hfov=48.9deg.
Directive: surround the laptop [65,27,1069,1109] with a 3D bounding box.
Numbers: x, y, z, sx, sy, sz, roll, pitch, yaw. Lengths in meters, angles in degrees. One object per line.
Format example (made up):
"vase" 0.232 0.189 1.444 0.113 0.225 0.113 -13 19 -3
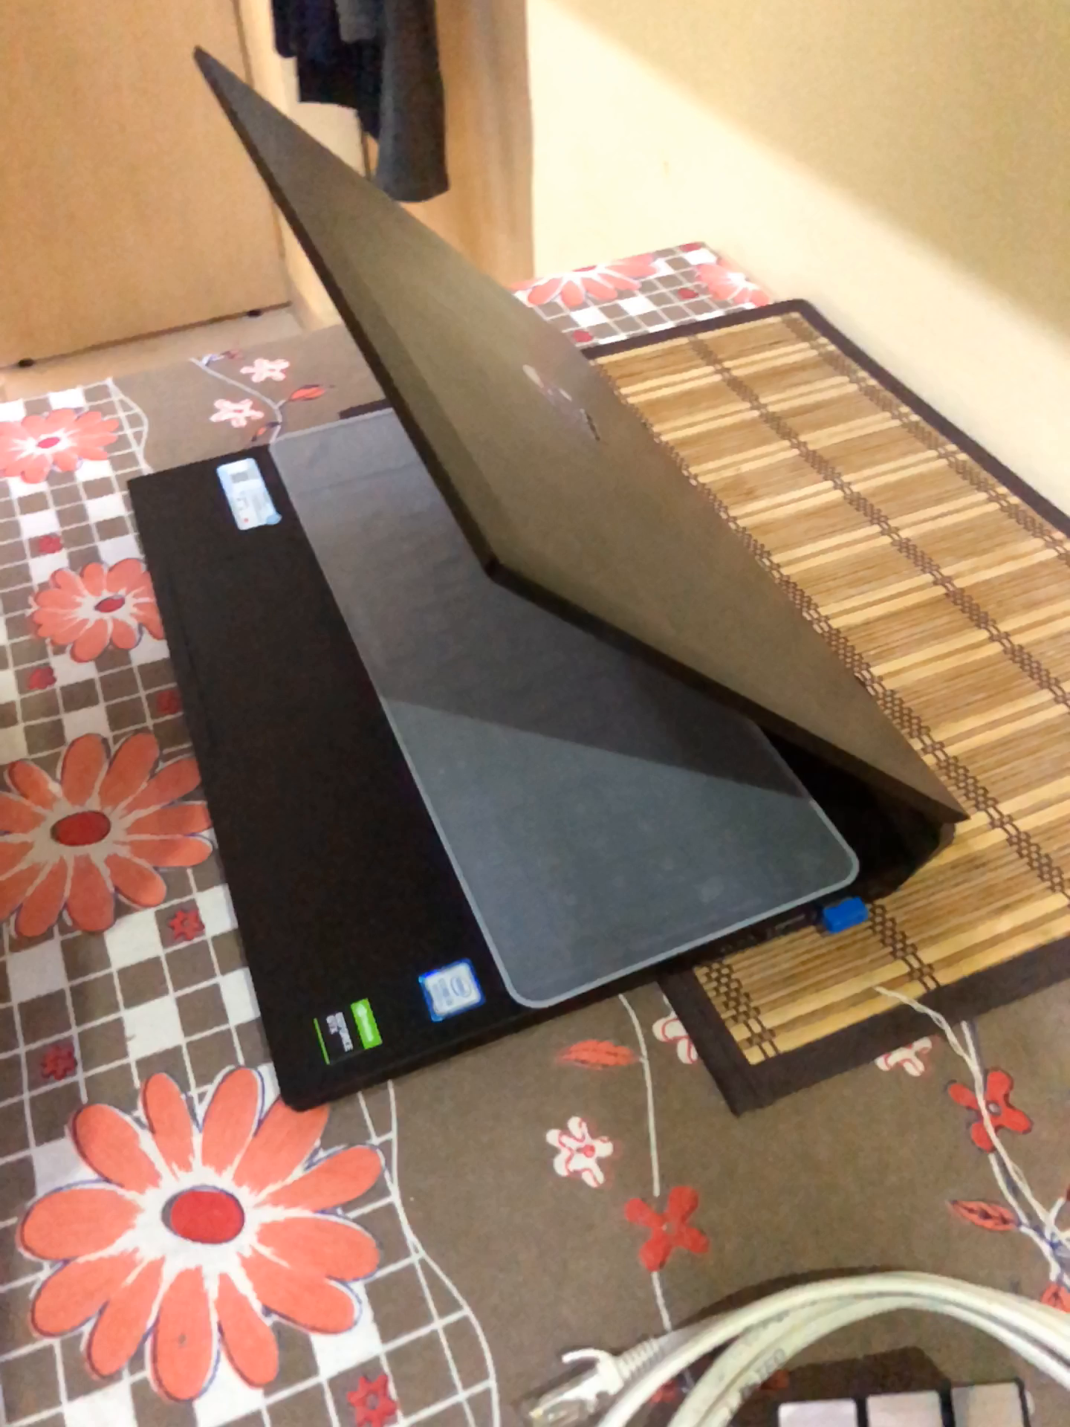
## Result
"laptop" -0.022 -0.093 0.444 0.236 0.164 0.357 -19 46 -10
